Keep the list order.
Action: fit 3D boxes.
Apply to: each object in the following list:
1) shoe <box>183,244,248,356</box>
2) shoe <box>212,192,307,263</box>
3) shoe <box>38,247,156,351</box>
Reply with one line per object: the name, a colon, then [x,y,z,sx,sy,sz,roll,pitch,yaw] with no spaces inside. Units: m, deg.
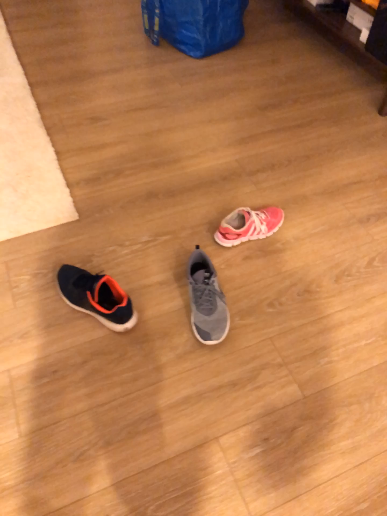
shoe: [0.054,0.111,1.246,0.130,0.080,0.322,-5,52,-6]
shoe: [0.219,-0.108,1.447,0.280,0.090,0.130,-22,55,-18]
shoe: [-0.277,0.114,1.247,0.320,0.099,0.131,29,56,20]
